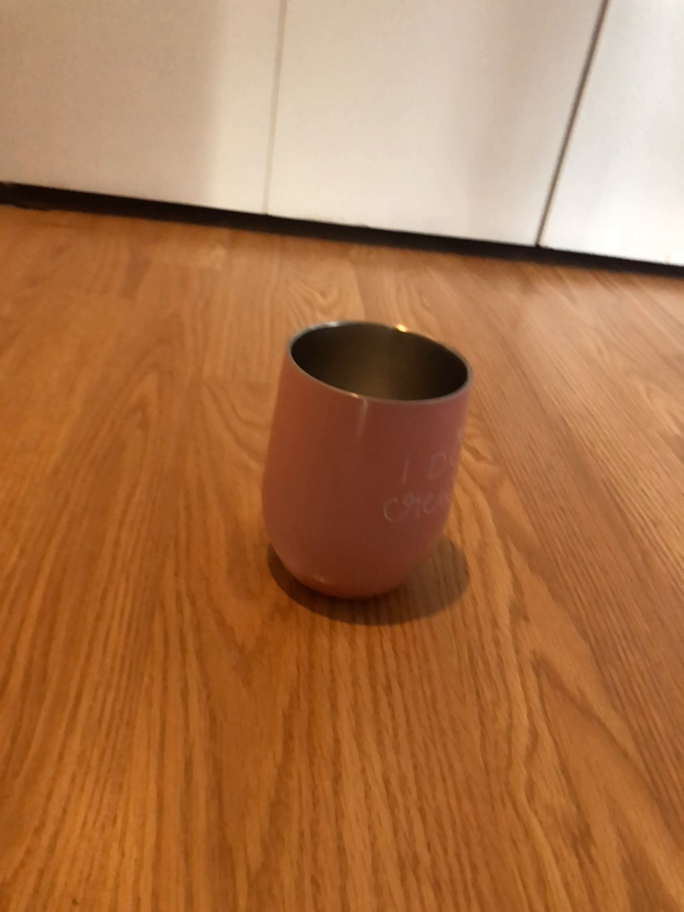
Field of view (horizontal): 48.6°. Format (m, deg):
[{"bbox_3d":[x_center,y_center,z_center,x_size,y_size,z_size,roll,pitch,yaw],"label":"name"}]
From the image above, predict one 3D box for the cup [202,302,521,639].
[{"bbox_3d":[0.003,0.000,0.336,0.090,0.100,0.090,7,31,-4],"label":"cup"}]
